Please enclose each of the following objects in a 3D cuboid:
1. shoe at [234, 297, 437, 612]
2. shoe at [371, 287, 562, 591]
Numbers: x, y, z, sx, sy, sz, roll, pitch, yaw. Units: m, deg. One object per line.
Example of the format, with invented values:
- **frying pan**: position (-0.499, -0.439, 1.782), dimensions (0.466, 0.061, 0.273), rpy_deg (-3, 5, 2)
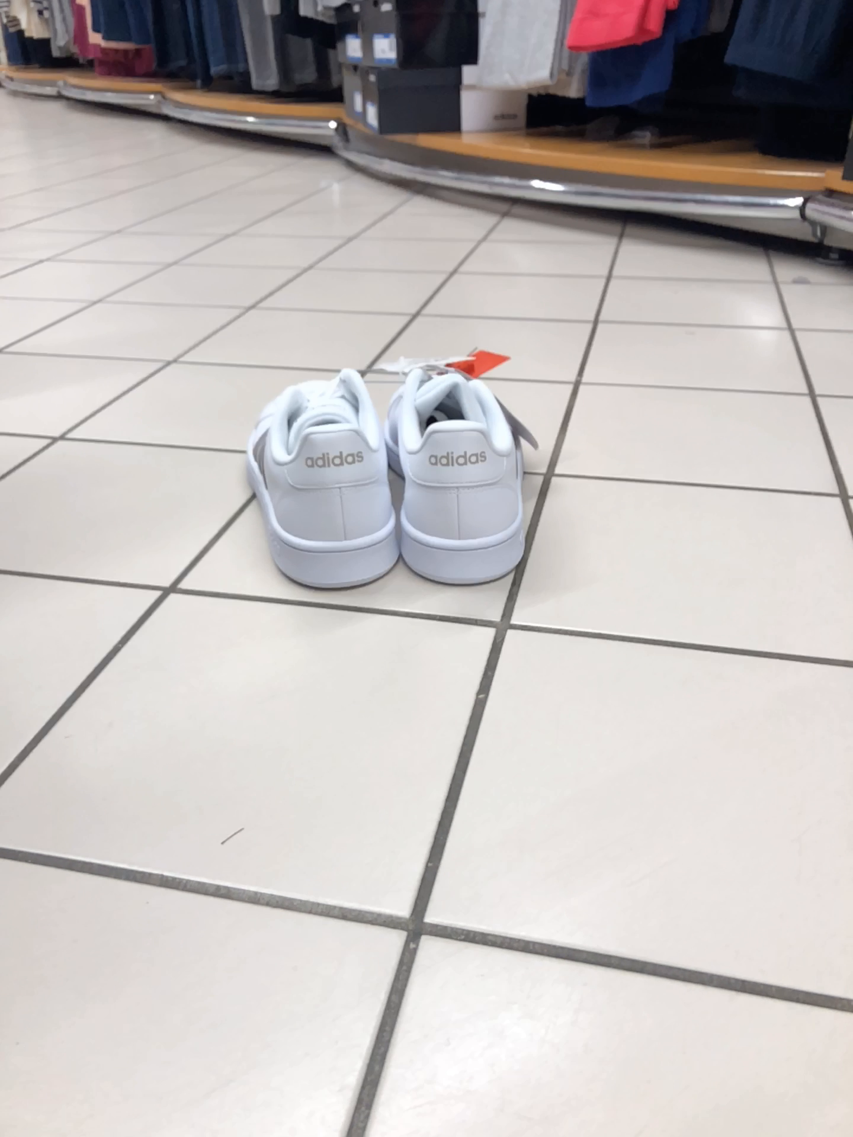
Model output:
- **shoe**: position (-0.071, -0.094, 0.633), dimensions (0.100, 0.099, 0.281), rpy_deg (-7, 31, -9)
- **shoe**: position (0.015, -0.104, 0.638), dimensions (0.100, 0.099, 0.282), rpy_deg (-3, 30, -2)
